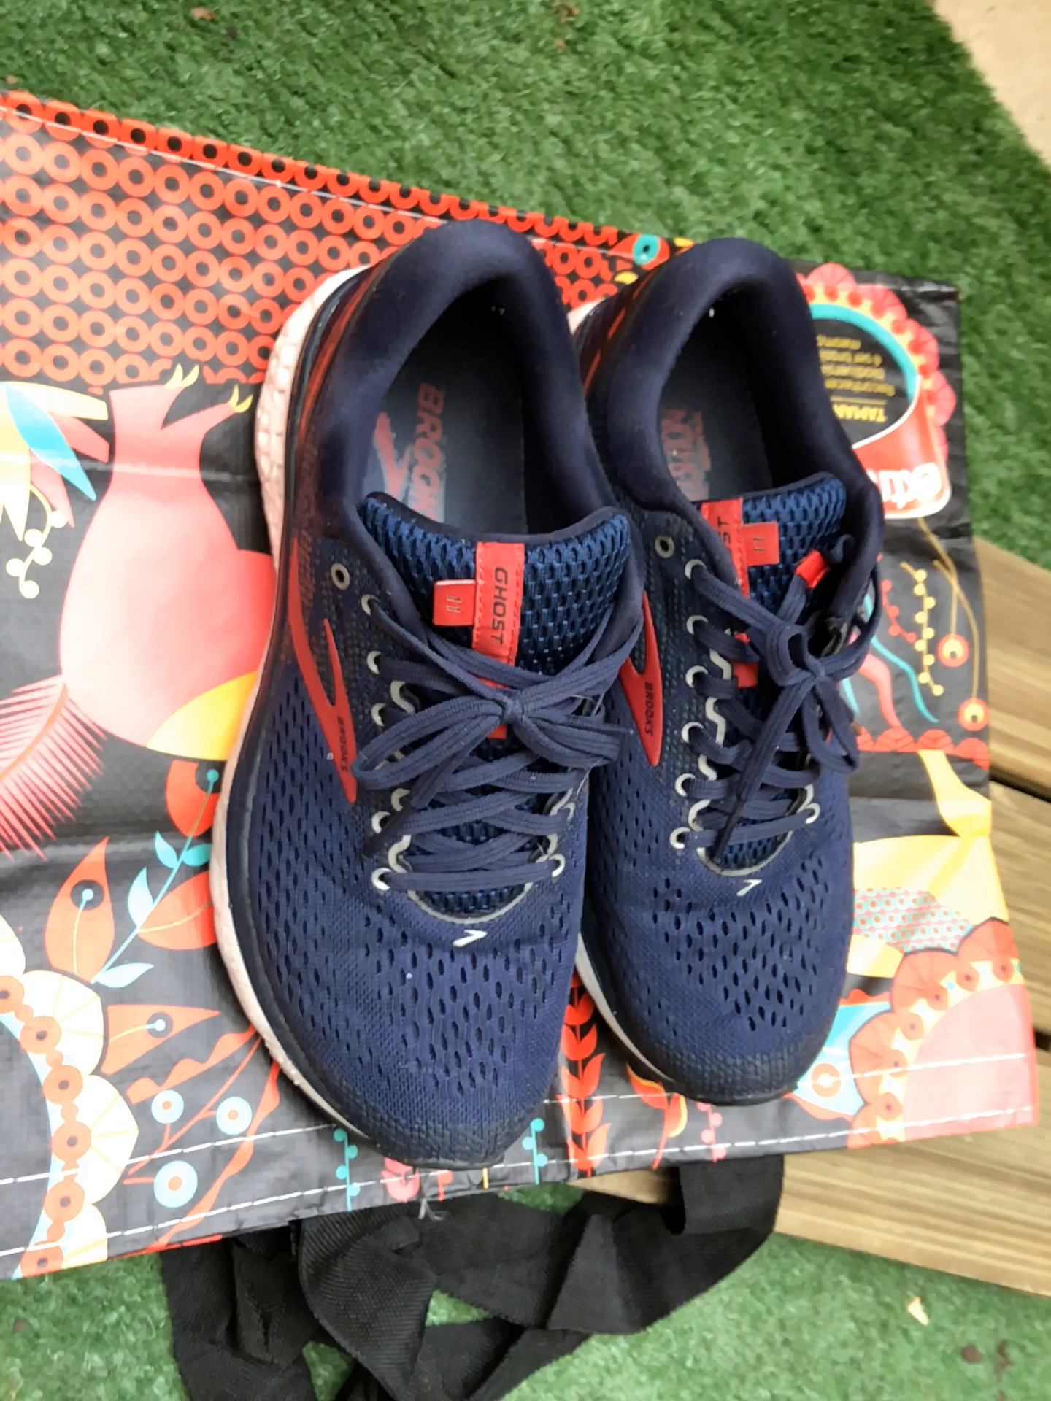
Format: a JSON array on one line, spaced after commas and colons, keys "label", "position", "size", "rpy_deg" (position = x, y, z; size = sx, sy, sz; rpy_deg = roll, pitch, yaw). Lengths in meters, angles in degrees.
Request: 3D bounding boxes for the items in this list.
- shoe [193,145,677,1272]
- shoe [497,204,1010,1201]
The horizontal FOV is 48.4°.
[{"label": "shoe", "position": [-0.035, 0.000, 0.338], "size": [0.107, 0.100, 0.265], "rpy_deg": [-1, 84, -19]}, {"label": "shoe", "position": [0.063, -0.001, 0.372], "size": [0.100, 0.100, 0.265], "rpy_deg": [-3, 85, -20]}]
